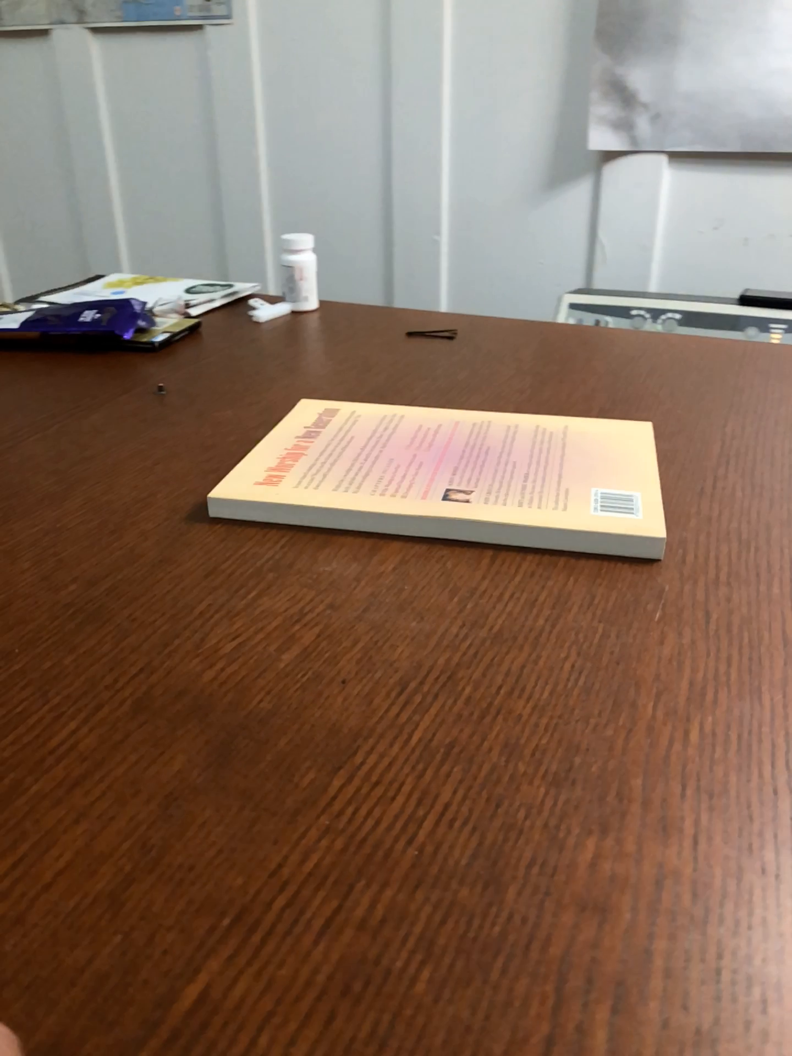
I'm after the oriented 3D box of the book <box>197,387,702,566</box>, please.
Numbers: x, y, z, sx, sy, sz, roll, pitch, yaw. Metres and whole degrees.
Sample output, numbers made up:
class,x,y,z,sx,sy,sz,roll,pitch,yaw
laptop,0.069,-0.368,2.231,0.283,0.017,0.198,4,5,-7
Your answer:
class,x,y,z,sx,sy,sz,roll,pitch,yaw
book,0.040,-0.043,0.551,0.270,0.020,0.191,5,27,10
